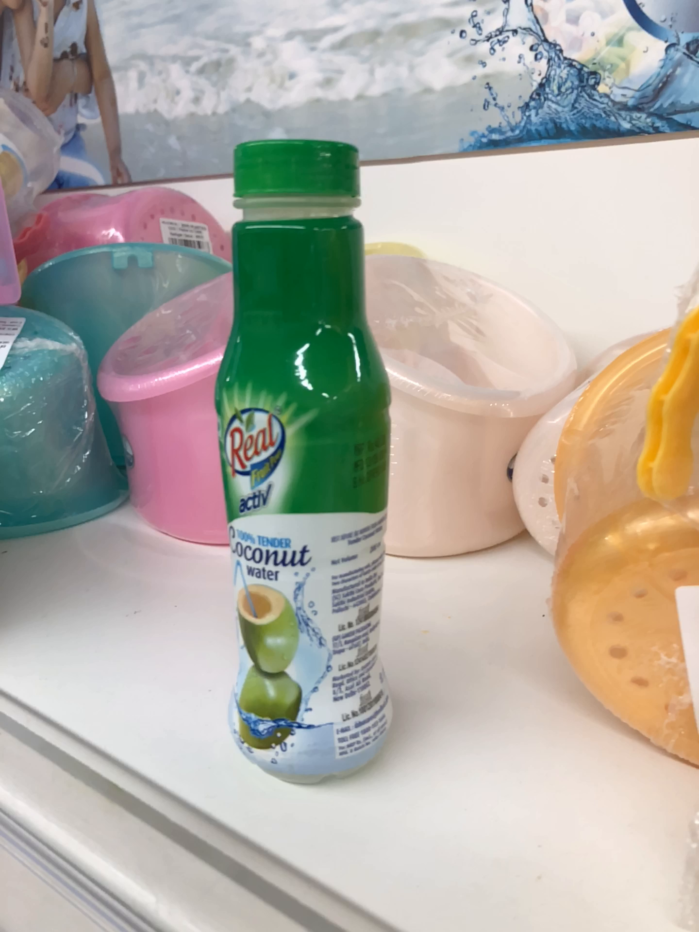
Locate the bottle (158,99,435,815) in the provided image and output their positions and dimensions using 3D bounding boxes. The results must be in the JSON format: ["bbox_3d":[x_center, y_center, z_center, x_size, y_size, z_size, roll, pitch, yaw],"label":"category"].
[{"bbox_3d":[-0.010,0.000,0.219,0.050,0.179,0.050,-1,17,0],"label":"bottle"}]
